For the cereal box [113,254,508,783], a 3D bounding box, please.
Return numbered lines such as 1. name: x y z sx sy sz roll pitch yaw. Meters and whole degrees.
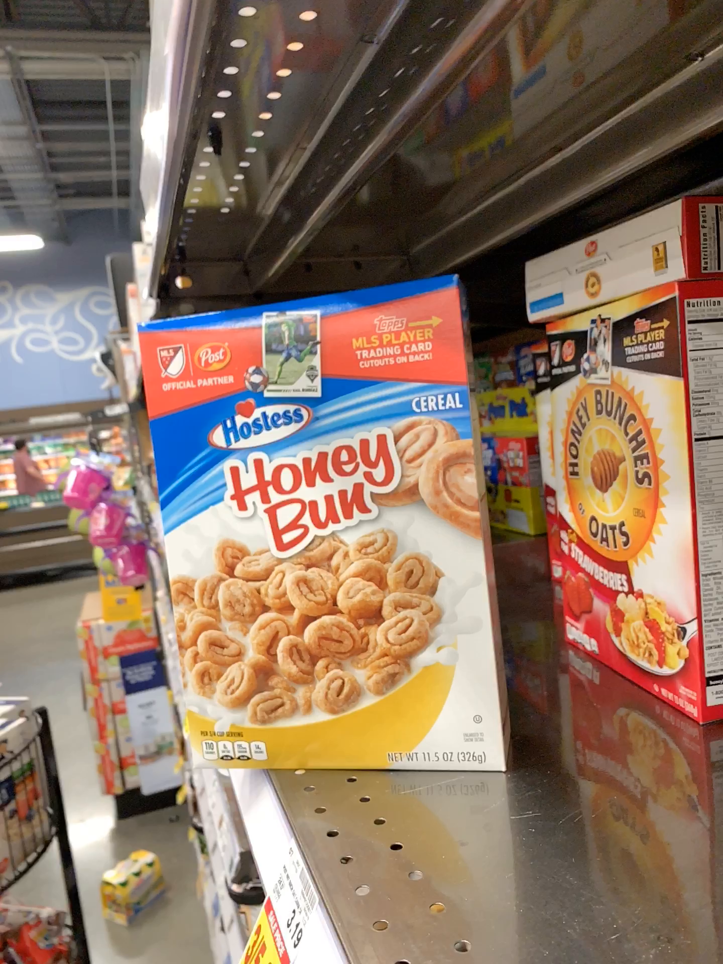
1. cereal box: -0.028 0.027 0.449 0.200 0.280 0.060 -4 4 16
